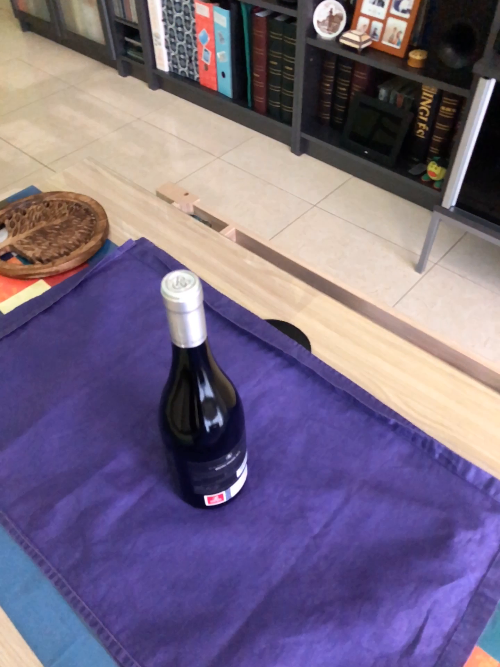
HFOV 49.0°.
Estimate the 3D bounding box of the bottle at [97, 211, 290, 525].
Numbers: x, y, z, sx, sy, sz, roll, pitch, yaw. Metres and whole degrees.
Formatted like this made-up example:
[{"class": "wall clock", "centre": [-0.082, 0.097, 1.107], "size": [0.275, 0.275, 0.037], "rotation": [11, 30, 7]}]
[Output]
[{"class": "bottle", "centre": [-0.038, 0.046, 0.474], "size": [0.100, 0.269, 0.100], "rotation": [-1, 49, 1]}]
